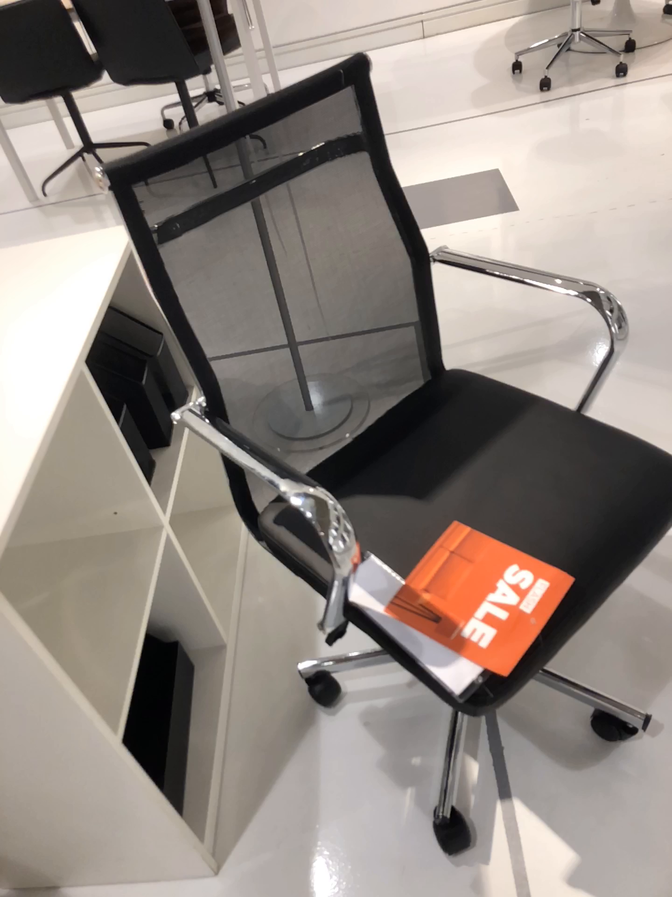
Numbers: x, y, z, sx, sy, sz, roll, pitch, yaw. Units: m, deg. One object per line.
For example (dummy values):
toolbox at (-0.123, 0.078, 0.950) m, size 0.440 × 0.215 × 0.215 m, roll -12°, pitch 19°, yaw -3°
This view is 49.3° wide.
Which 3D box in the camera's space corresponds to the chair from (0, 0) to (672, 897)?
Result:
chair at (0.158, 0.003, 1.007) m, size 0.612 × 0.992 × 0.623 m, roll -38°, pitch 46°, yaw -24°
